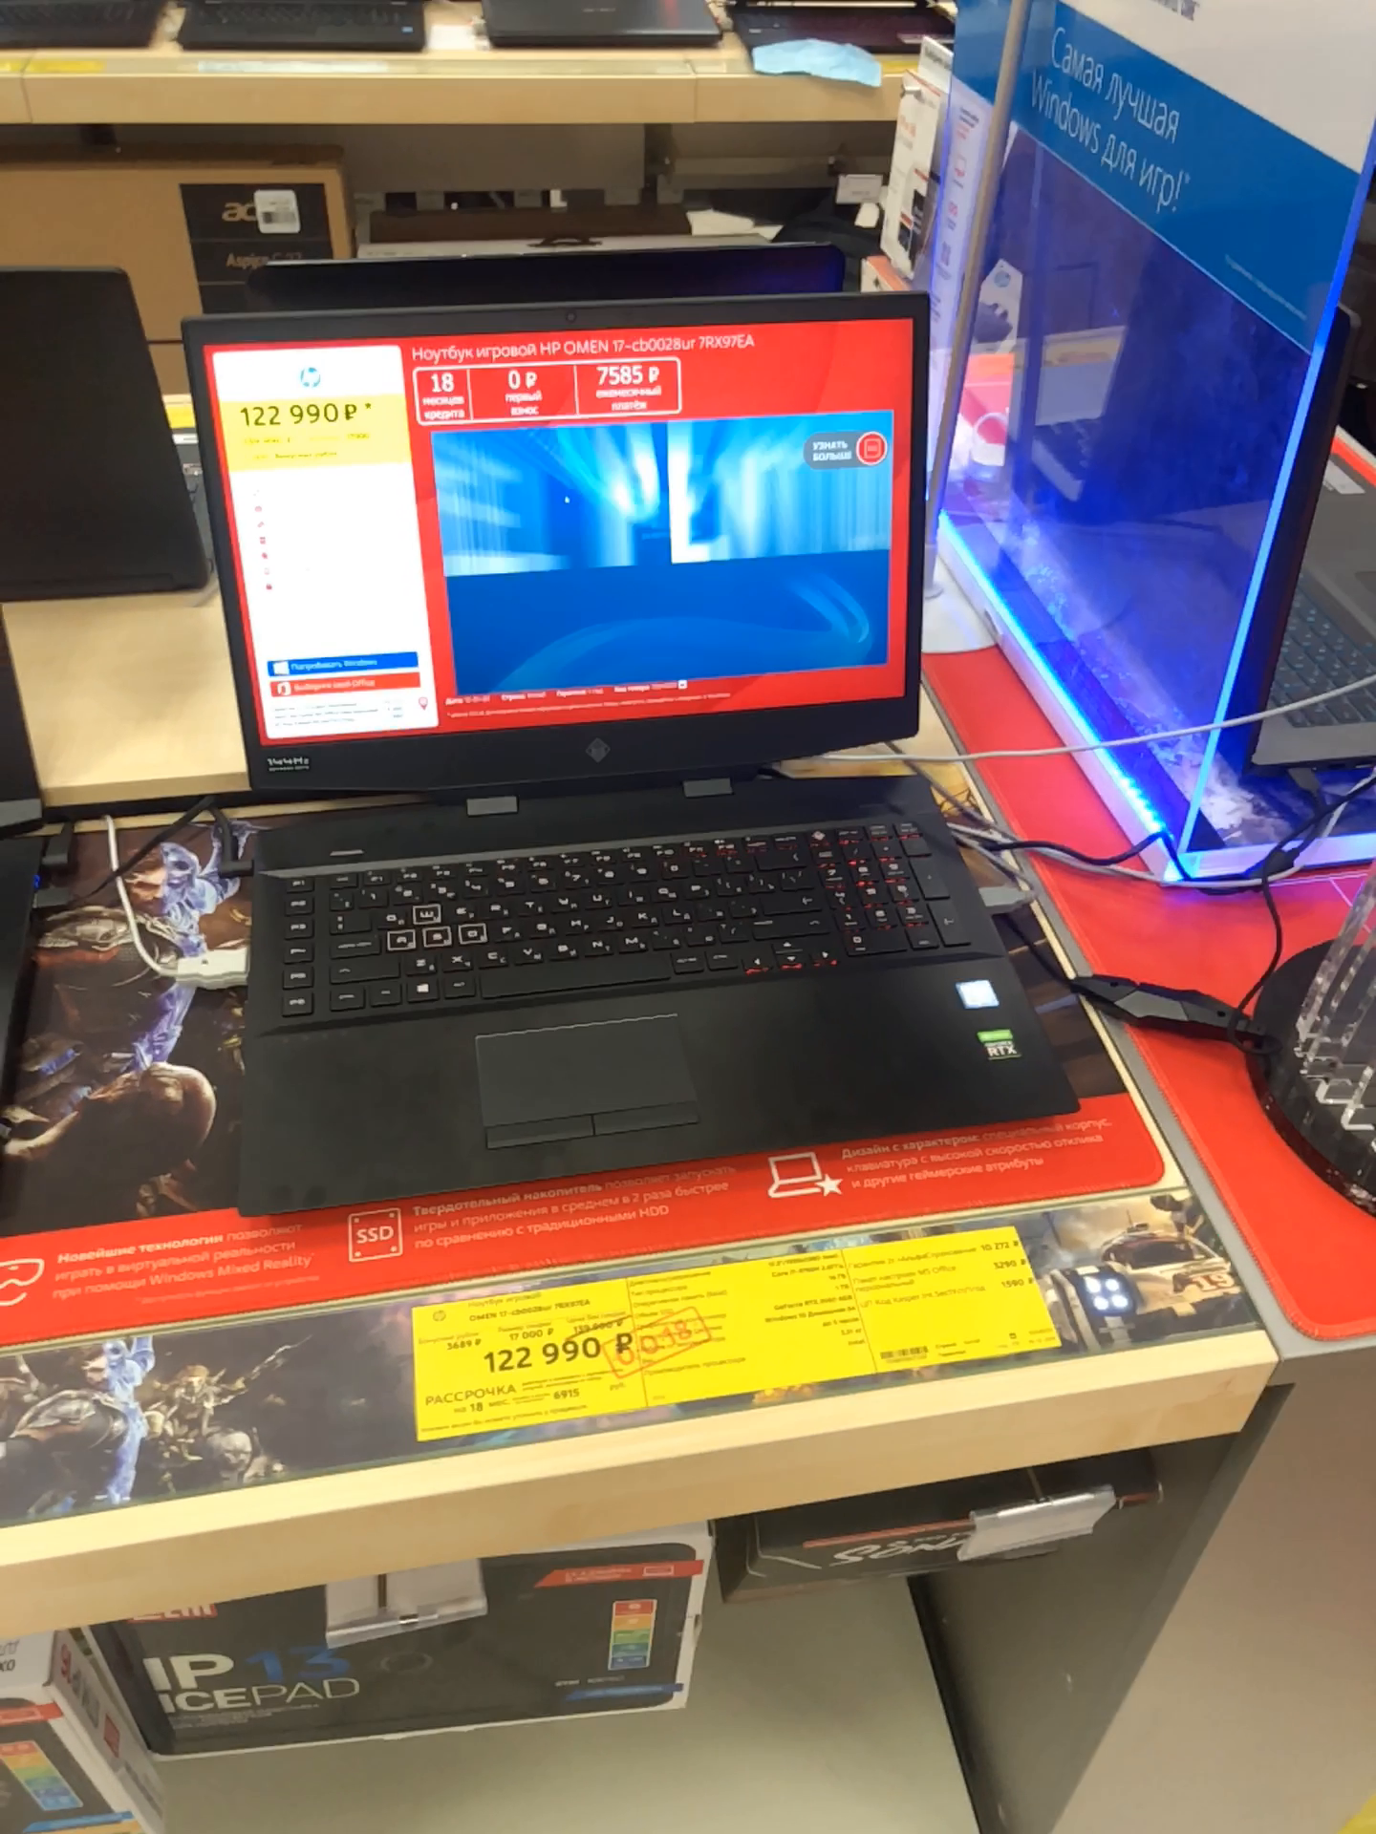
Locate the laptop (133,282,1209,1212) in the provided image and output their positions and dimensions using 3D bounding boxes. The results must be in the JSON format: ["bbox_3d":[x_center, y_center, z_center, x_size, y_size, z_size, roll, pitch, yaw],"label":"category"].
[{"bbox_3d":[-0.032,-0.110,0.754,0.391,0.246,0.377,-6,43,-8],"label":"laptop"}]
